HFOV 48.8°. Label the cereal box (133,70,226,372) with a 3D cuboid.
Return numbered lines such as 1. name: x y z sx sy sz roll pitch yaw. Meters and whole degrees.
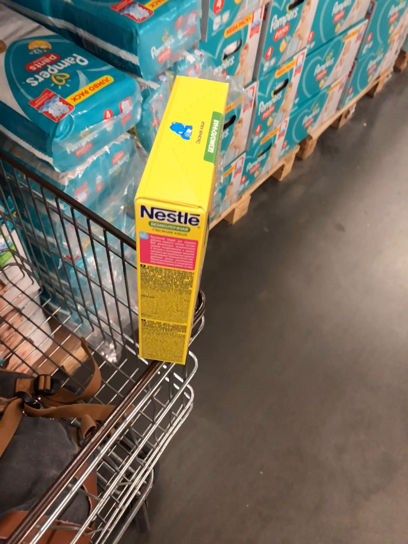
1. cereal box: -0.020 -0.033 0.374 0.040 0.199 0.151 8 51 0
